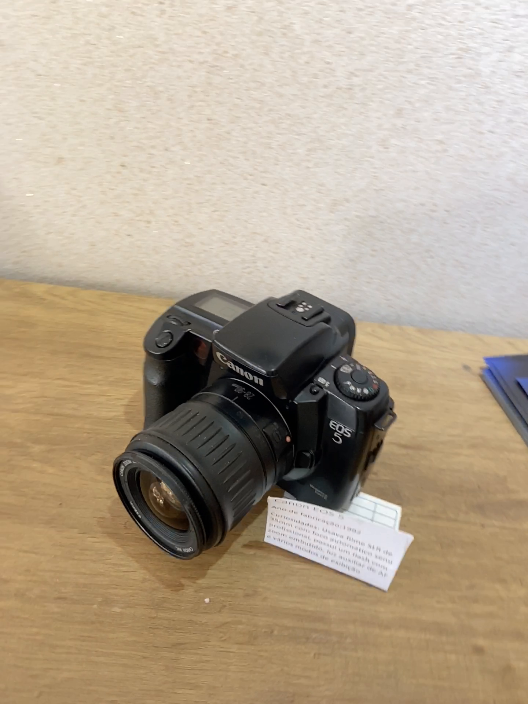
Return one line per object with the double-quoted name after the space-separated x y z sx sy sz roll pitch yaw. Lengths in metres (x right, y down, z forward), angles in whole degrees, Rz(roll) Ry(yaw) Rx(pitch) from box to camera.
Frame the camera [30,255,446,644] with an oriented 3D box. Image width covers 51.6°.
-0.007 0.035 0.334 0.160 0.079 0.181 26 42 24 "camera"
